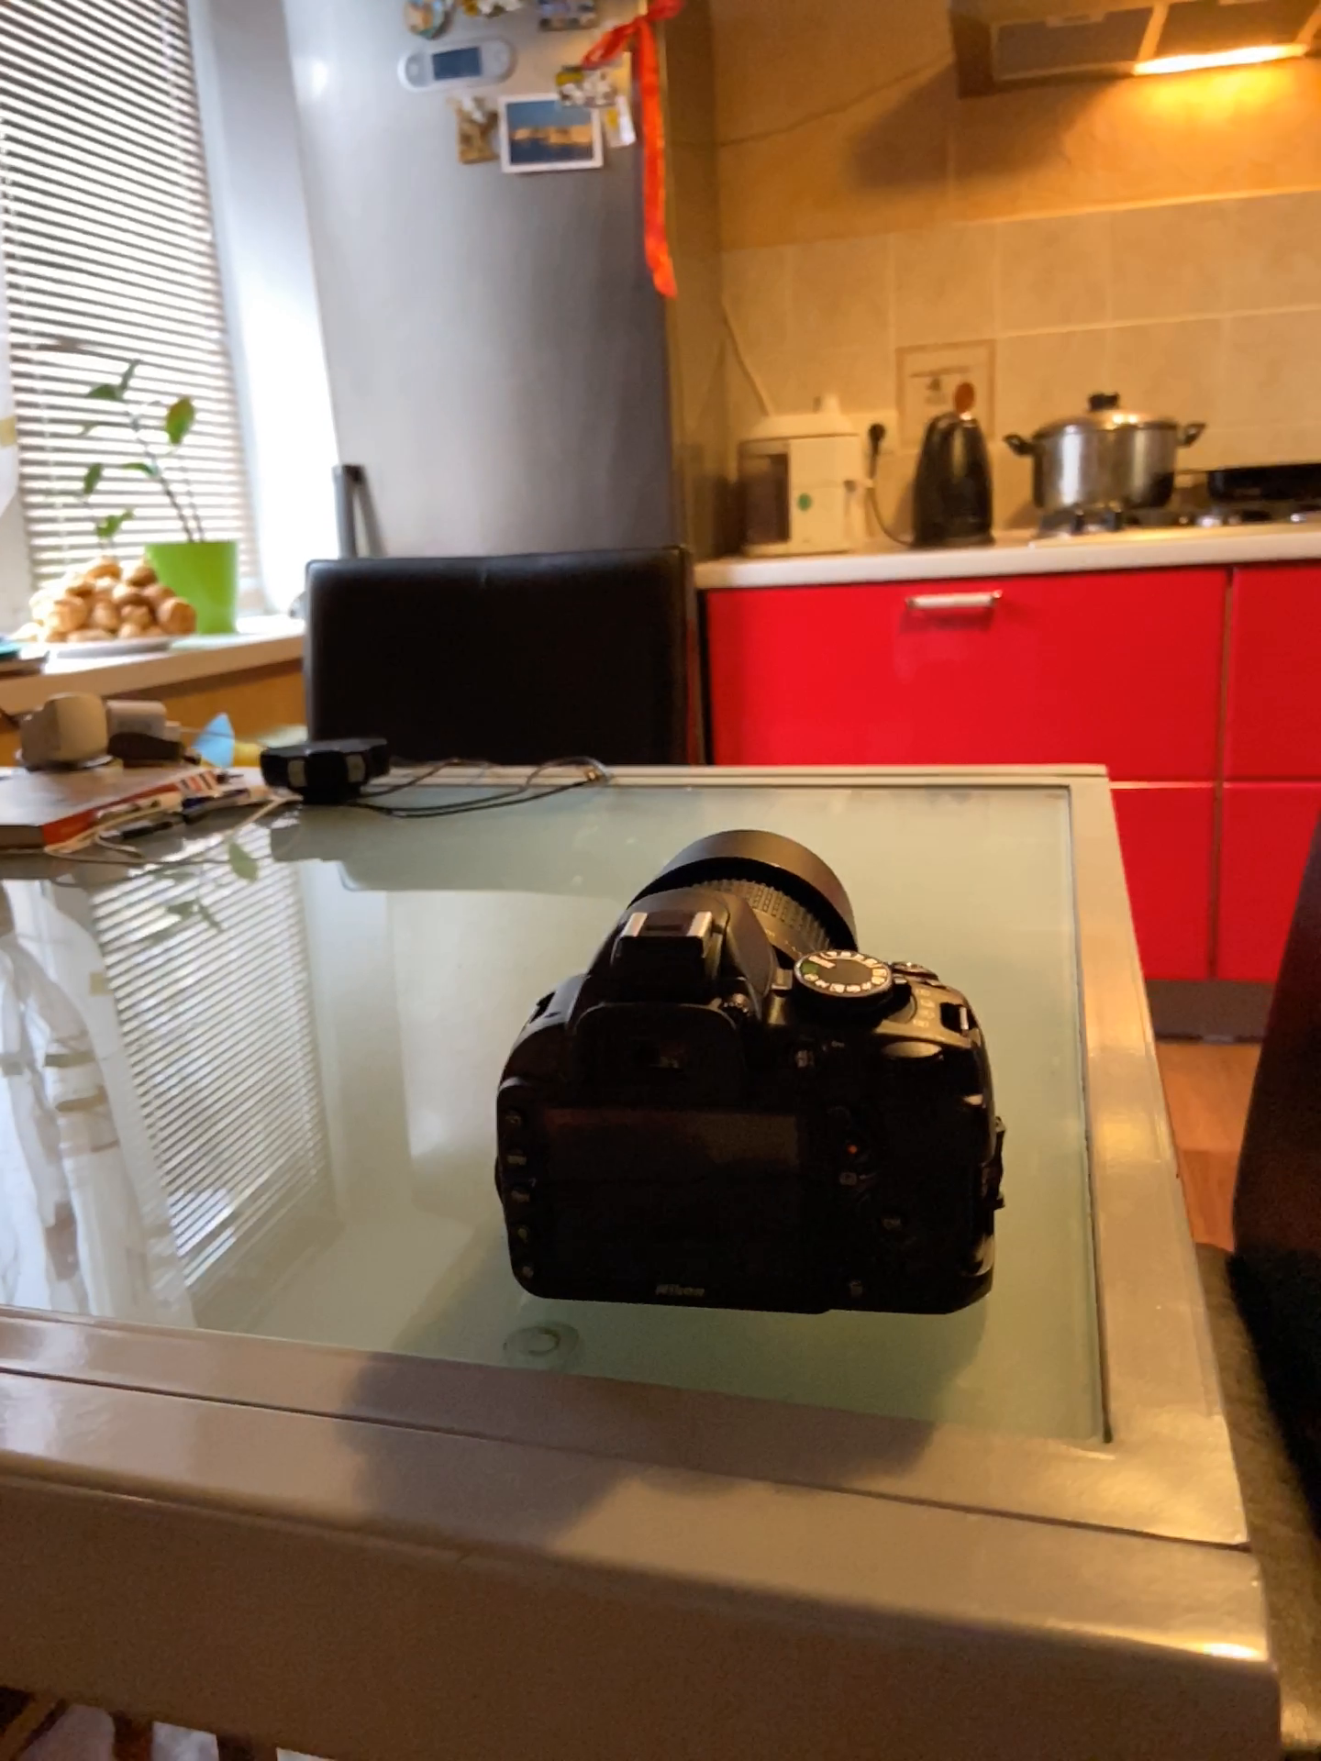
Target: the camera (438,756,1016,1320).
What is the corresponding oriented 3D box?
[{"bbox_3d":[0.034,0.030,0.424,0.134,0.100,0.209,-1,15,10],"label":"camera"}]
